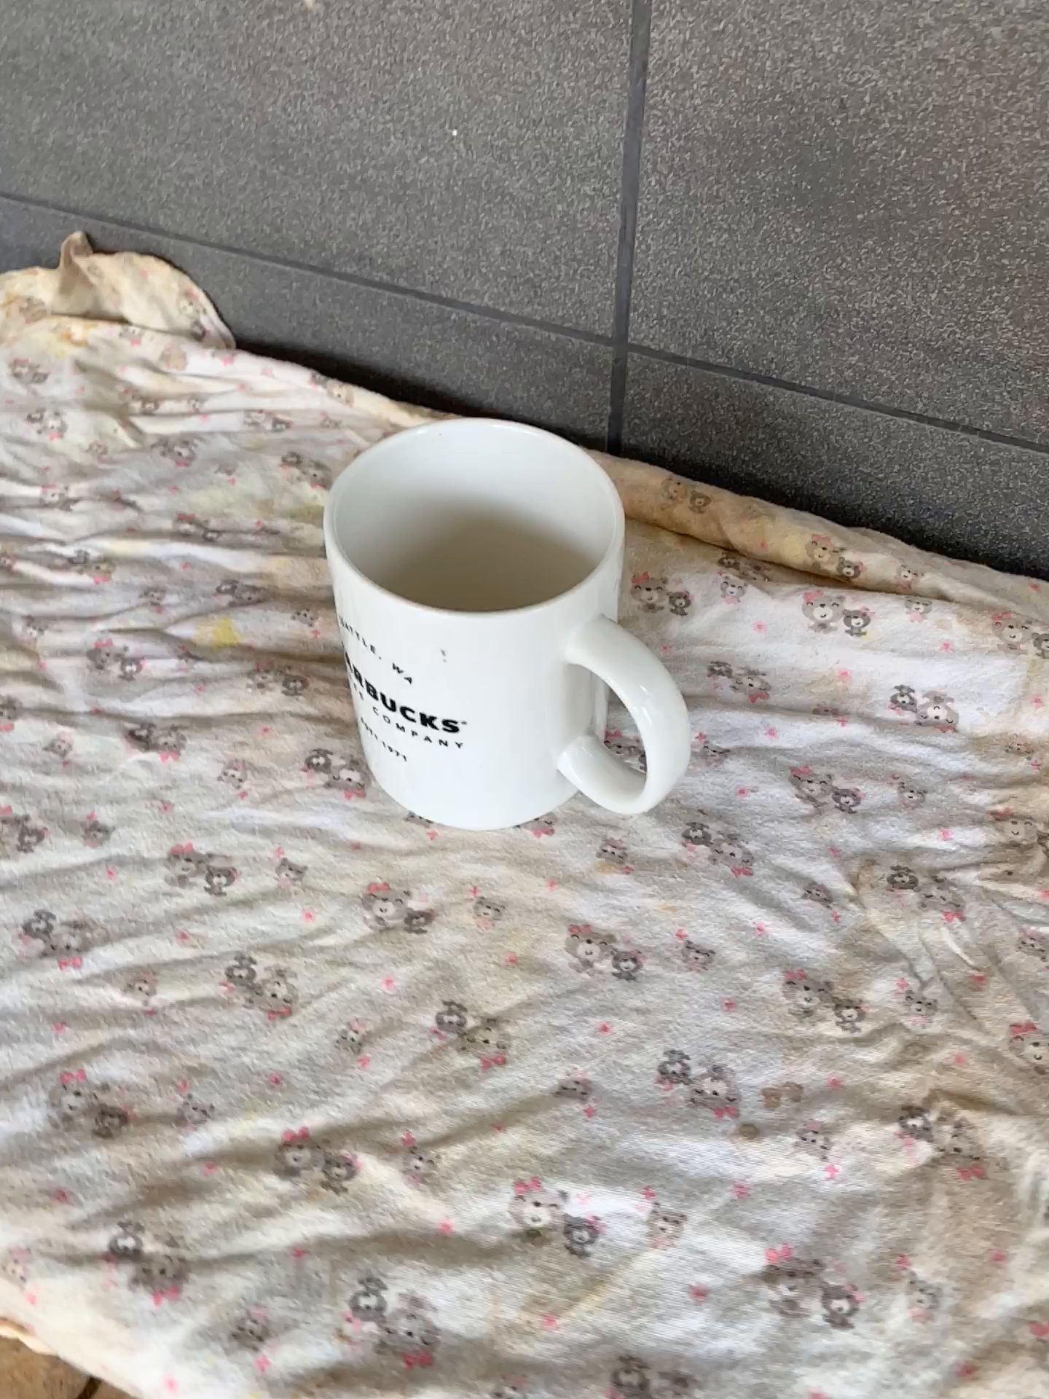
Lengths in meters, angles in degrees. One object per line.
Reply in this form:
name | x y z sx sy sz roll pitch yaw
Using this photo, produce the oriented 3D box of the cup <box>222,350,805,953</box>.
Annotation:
cup | -0.004 -0.017 0.334 0.130 0.110 0.090 32 56 25
